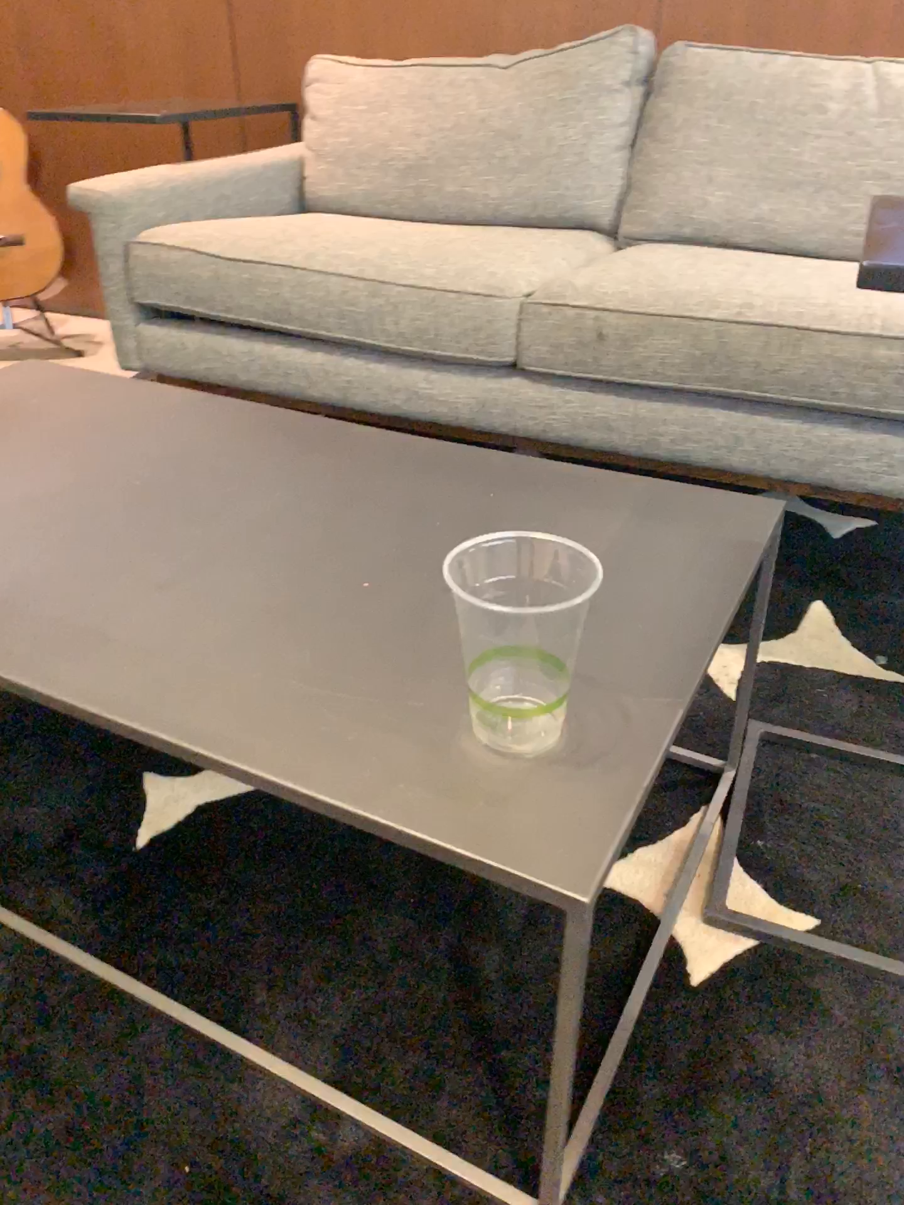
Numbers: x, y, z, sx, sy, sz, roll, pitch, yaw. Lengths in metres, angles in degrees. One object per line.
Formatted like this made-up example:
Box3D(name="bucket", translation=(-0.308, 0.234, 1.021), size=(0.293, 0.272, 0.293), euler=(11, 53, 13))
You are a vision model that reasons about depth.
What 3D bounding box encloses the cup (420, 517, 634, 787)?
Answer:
Box3D(name="cup", translation=(0.044, 0.026, 0.546), size=(0.090, 0.109, 0.090), euler=(0, 31, 0))
